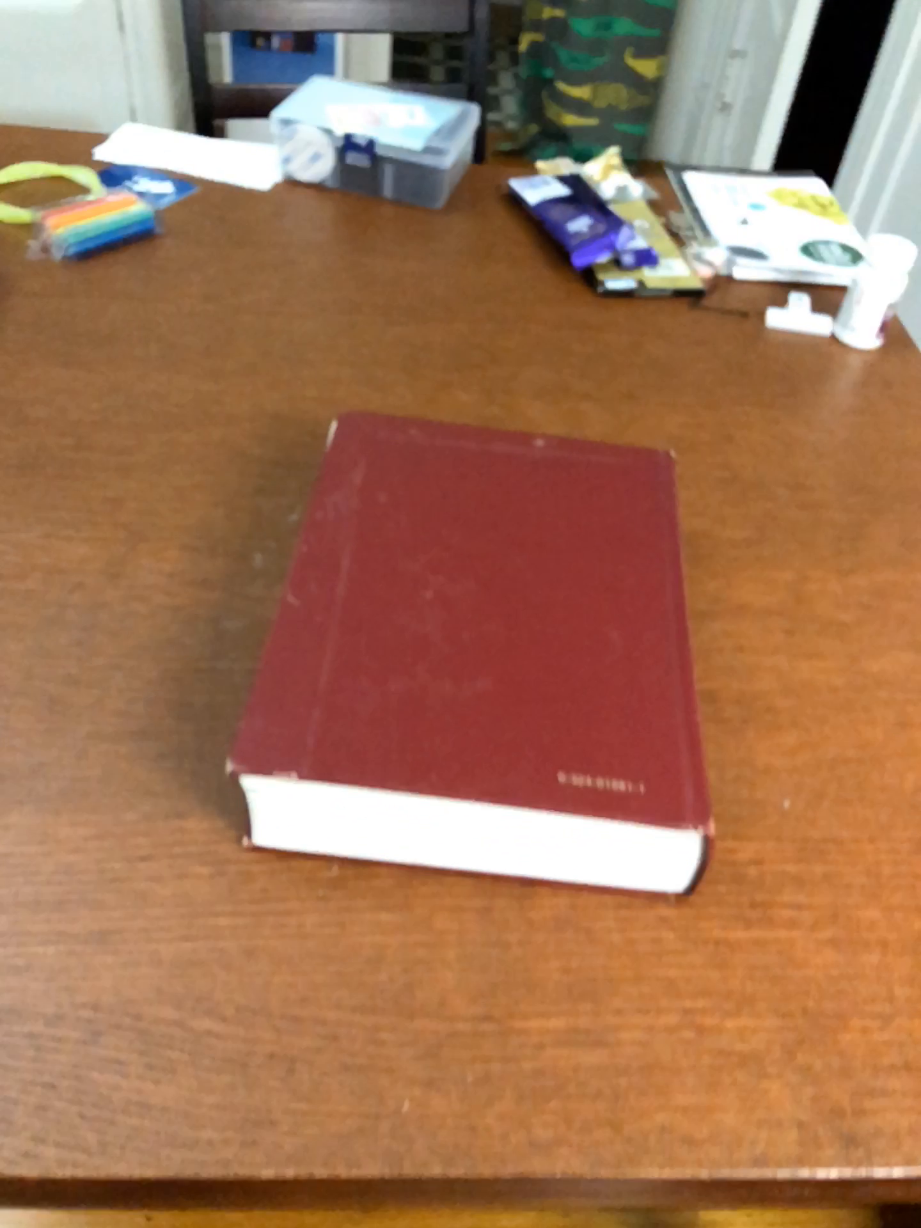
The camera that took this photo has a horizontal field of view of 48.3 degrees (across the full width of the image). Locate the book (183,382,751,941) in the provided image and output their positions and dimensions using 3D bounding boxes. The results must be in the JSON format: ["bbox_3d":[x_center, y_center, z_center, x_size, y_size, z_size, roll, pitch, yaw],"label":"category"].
[{"bbox_3d":[0.012,0.002,0.523,0.220,0.070,0.291,7,44,0],"label":"book"}]
